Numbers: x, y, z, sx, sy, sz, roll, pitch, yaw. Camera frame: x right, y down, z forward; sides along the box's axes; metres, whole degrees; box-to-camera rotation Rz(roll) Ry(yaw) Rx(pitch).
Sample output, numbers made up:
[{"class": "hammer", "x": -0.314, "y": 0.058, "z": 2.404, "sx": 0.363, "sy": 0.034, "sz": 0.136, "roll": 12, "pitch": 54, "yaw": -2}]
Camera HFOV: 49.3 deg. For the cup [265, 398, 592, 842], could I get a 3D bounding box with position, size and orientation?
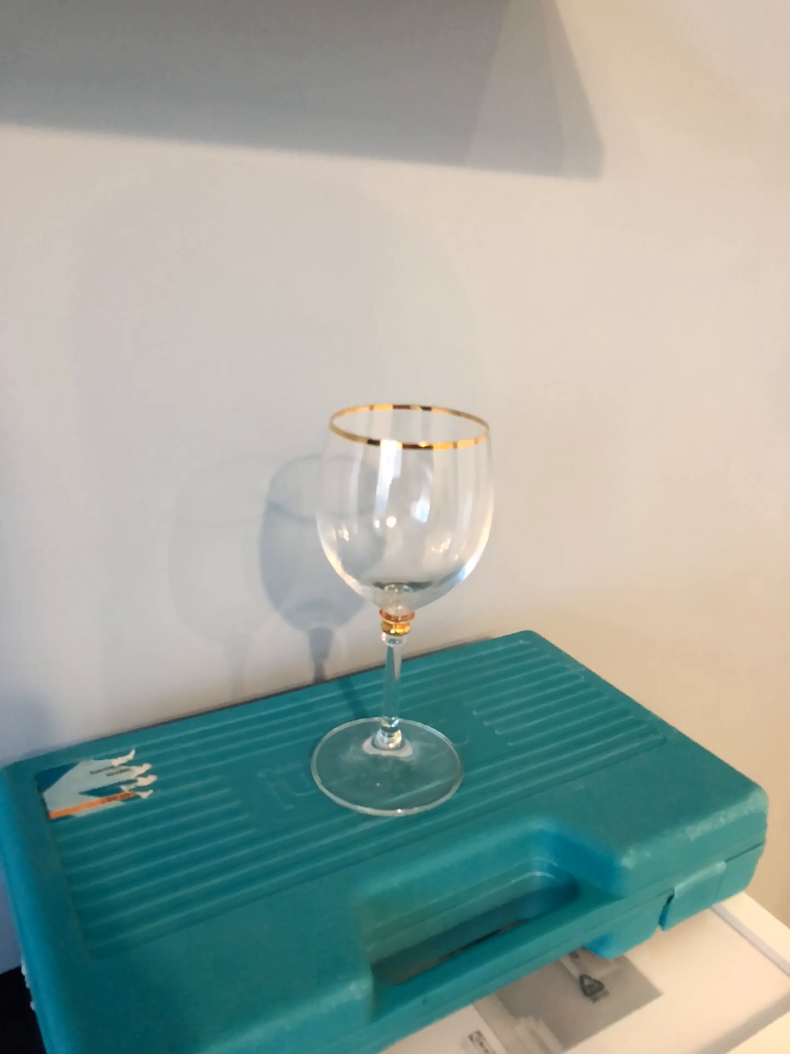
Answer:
[{"class": "cup", "x": 0.007, "y": 0.033, "z": 0.395, "sx": 0.100, "sy": 0.159, "sz": 0.100, "roll": 4, "pitch": 20, "yaw": -1}]
